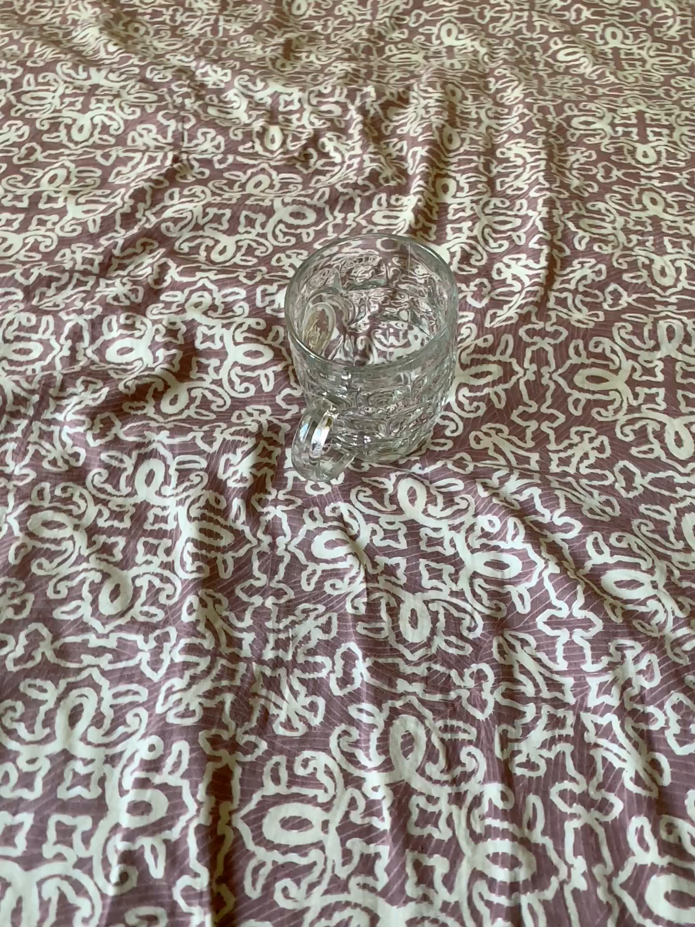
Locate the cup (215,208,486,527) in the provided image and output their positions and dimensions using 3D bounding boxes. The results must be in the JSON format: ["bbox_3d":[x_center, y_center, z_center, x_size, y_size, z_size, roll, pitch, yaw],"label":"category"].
[{"bbox_3d":[0.008,-0.051,0.391,0.093,0.099,0.118,19,64,16],"label":"cup"}]
